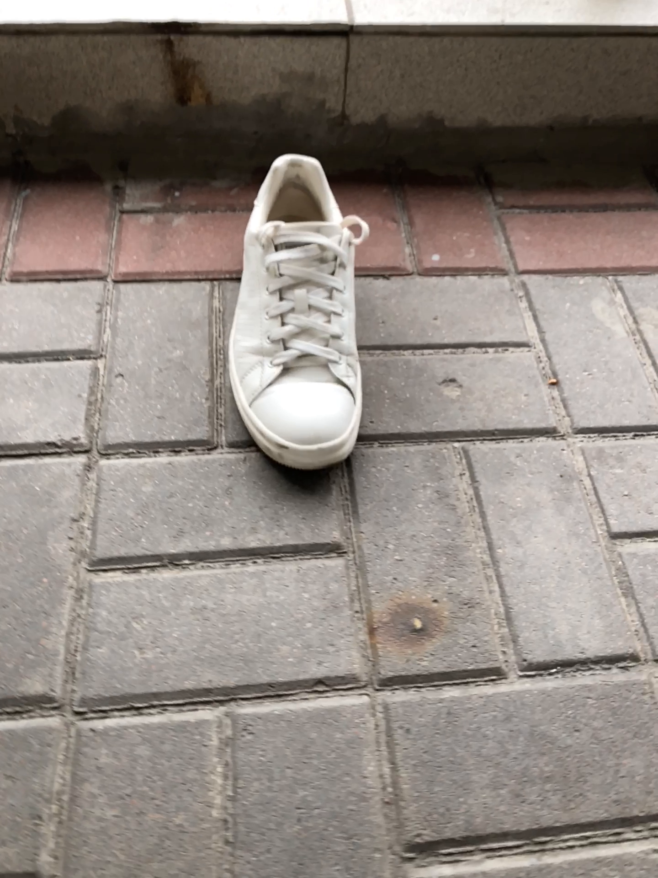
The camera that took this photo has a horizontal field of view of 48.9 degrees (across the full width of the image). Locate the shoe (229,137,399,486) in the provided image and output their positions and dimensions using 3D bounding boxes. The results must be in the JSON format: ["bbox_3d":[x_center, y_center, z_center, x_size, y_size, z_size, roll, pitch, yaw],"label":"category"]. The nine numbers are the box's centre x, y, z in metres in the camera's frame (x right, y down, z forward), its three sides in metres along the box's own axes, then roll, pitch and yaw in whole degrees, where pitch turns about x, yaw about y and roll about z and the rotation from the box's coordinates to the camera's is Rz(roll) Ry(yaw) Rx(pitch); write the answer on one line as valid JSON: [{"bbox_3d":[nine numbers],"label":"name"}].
[{"bbox_3d":[-0.027,-0.118,0.617,0.110,0.119,0.293,-1,54,-8],"label":"shoe"}]
